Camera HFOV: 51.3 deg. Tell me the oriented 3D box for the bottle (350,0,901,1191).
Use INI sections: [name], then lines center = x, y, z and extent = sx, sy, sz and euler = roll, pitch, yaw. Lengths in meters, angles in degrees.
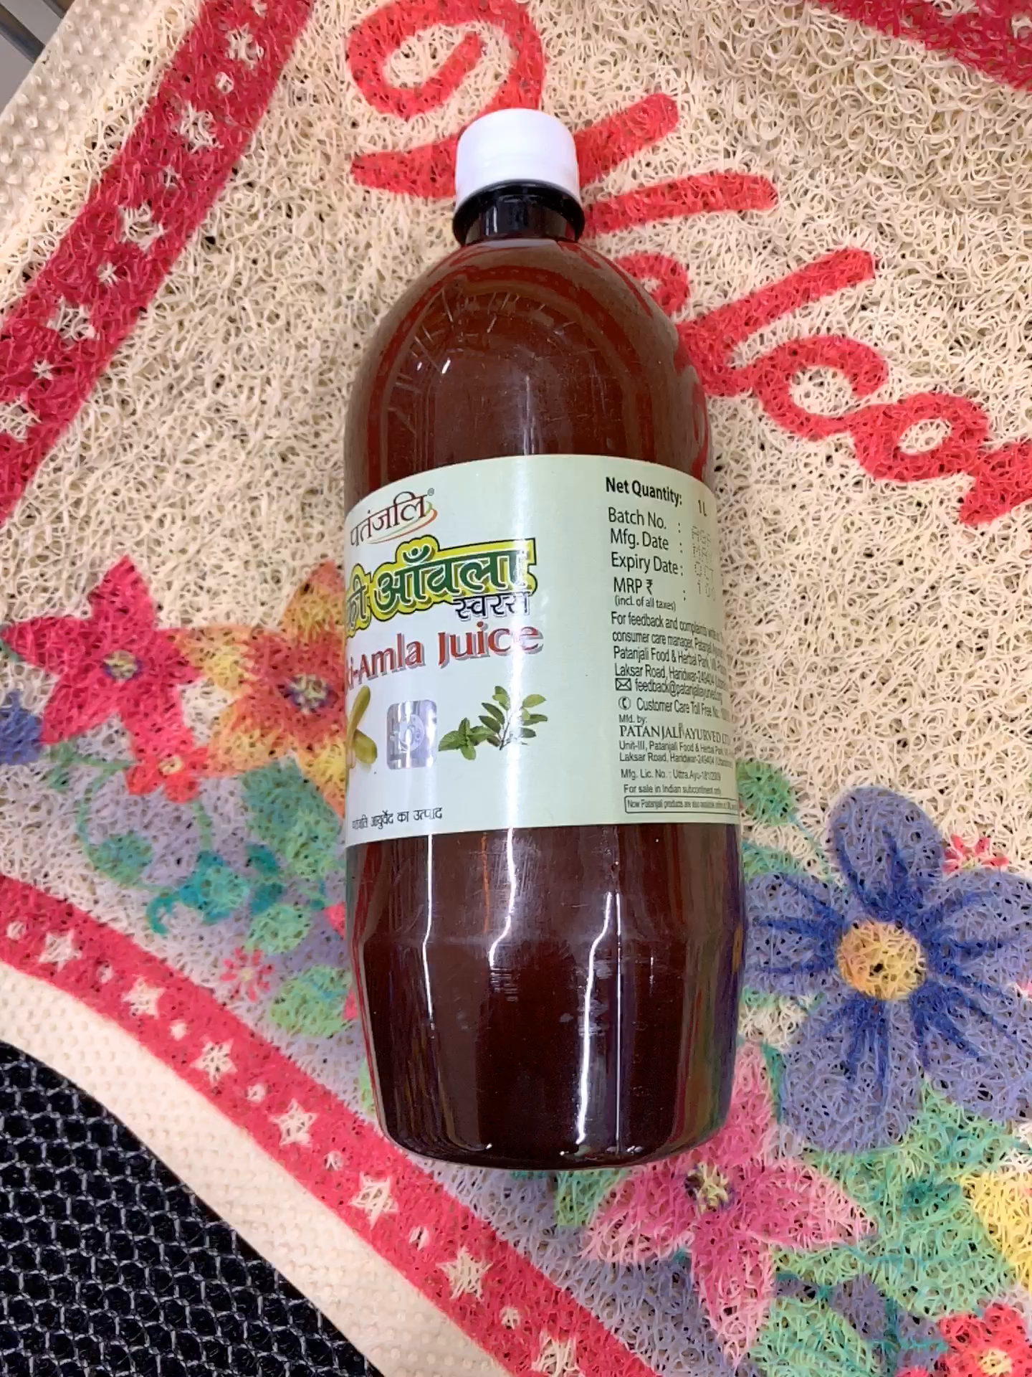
[bottle]
center = 0.015, -0.036, 0.242
extent = 0.080, 0.080, 0.250
euler = 4, 78, -28
